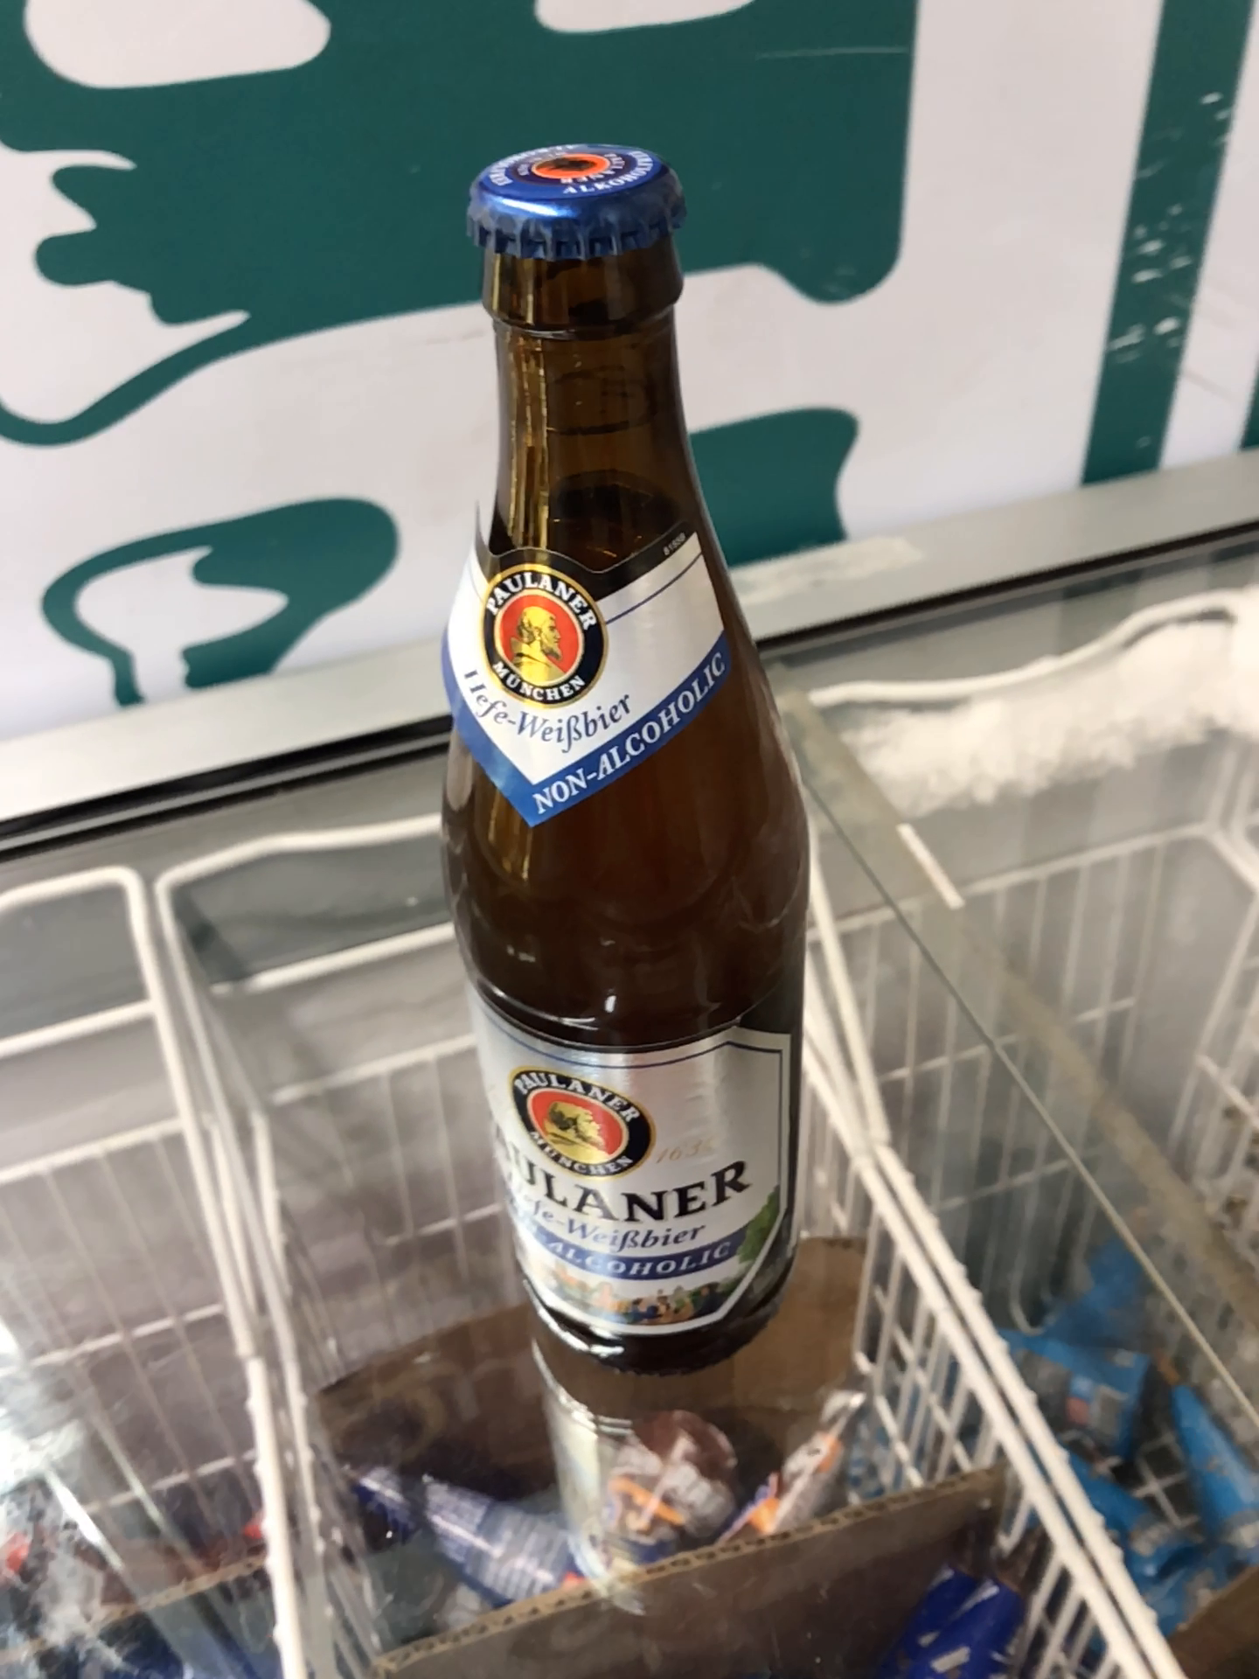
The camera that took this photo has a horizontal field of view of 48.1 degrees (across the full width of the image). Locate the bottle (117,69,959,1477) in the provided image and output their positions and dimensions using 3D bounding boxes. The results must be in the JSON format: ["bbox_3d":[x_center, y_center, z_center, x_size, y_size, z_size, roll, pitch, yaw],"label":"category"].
[{"bbox_3d":[-0.002,0.010,0.255,0.080,0.248,0.070,16,45,21],"label":"bottle"}]
